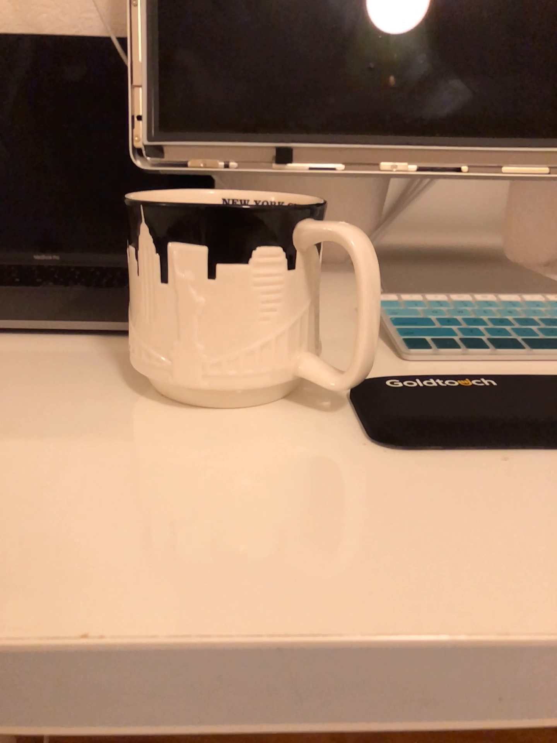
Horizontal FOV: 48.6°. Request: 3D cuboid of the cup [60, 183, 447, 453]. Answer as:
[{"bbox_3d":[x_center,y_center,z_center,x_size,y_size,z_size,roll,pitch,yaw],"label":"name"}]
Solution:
[{"bbox_3d":[-0.013,-0.042,0.311,0.150,0.090,0.110,16,24,33],"label":"cup"}]
